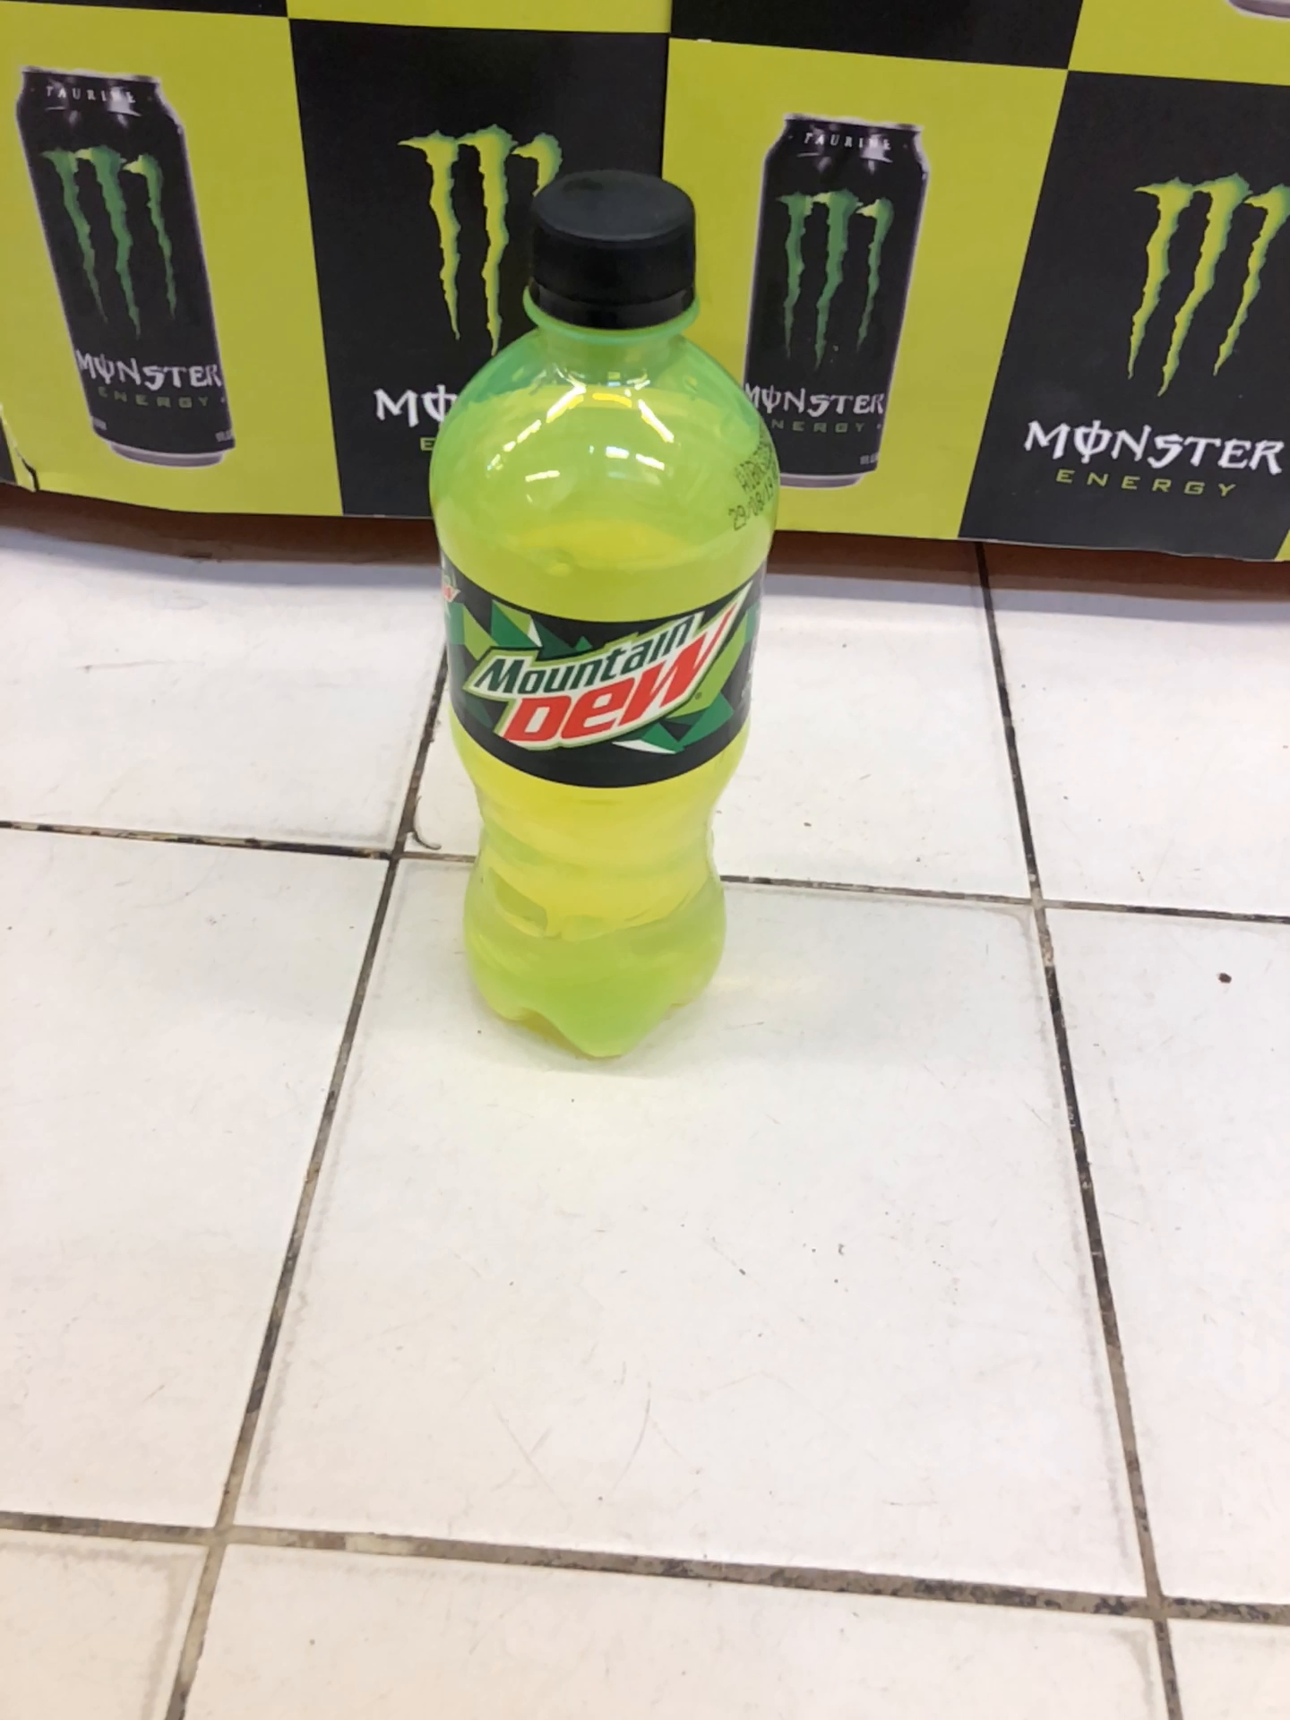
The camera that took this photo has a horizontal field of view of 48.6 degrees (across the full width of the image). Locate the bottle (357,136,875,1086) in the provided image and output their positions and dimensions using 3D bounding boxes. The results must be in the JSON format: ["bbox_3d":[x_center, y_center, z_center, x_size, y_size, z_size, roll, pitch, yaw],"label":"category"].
[{"bbox_3d":[-0.007,-0.040,0.315,0.080,0.199,0.070,4,46,0],"label":"bottle"}]
